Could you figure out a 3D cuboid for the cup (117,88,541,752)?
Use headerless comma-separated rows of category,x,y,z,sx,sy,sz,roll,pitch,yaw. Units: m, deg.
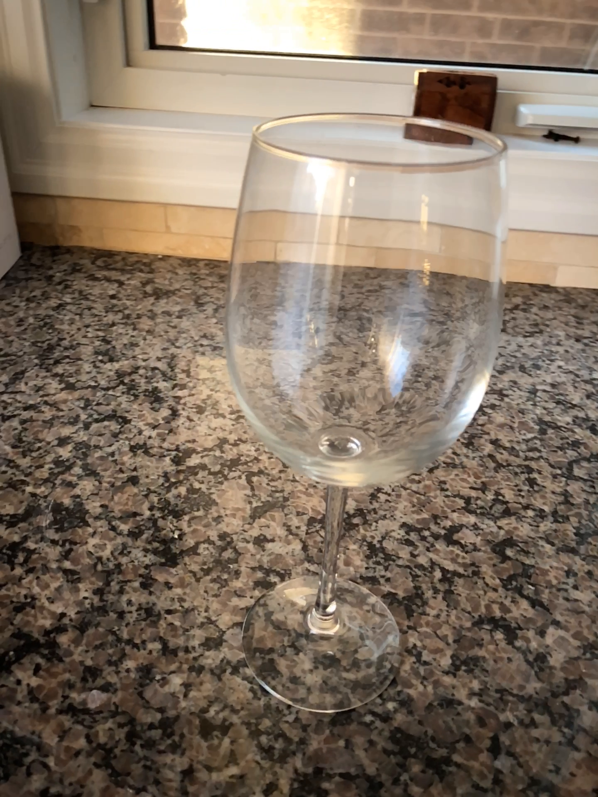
cup,0.008,0.013,0.246,0.095,0.217,0.098,2,32,-1
